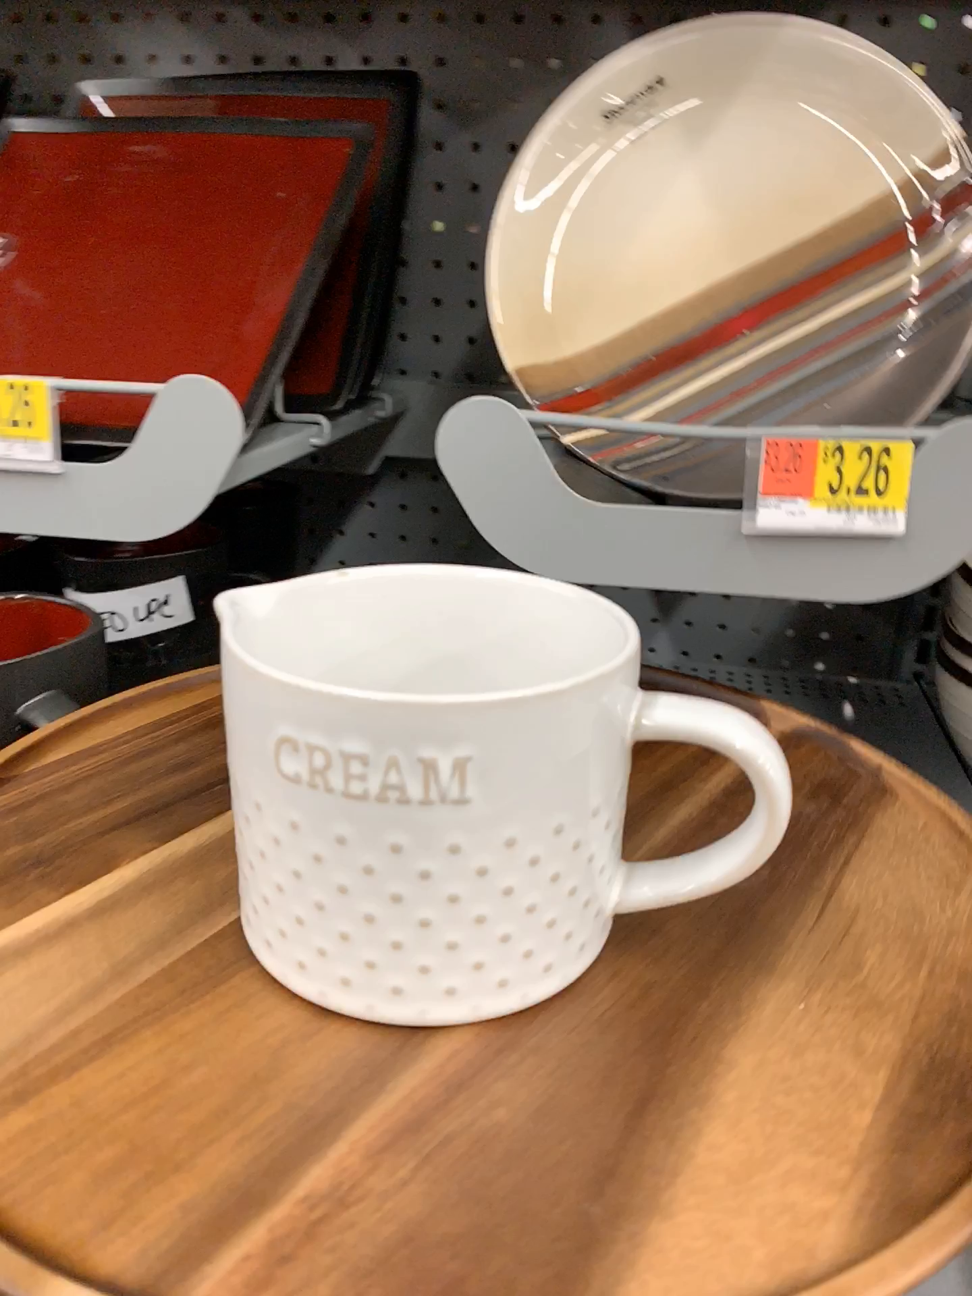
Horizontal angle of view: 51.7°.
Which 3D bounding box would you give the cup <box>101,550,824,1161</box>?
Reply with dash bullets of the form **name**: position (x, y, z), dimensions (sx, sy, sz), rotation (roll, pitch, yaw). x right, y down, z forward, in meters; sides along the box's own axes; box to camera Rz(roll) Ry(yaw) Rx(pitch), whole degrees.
- **cup**: position (0.001, 0.039, 0.259), dimensions (0.150, 0.090, 0.100), rotation (8, 22, 14)
